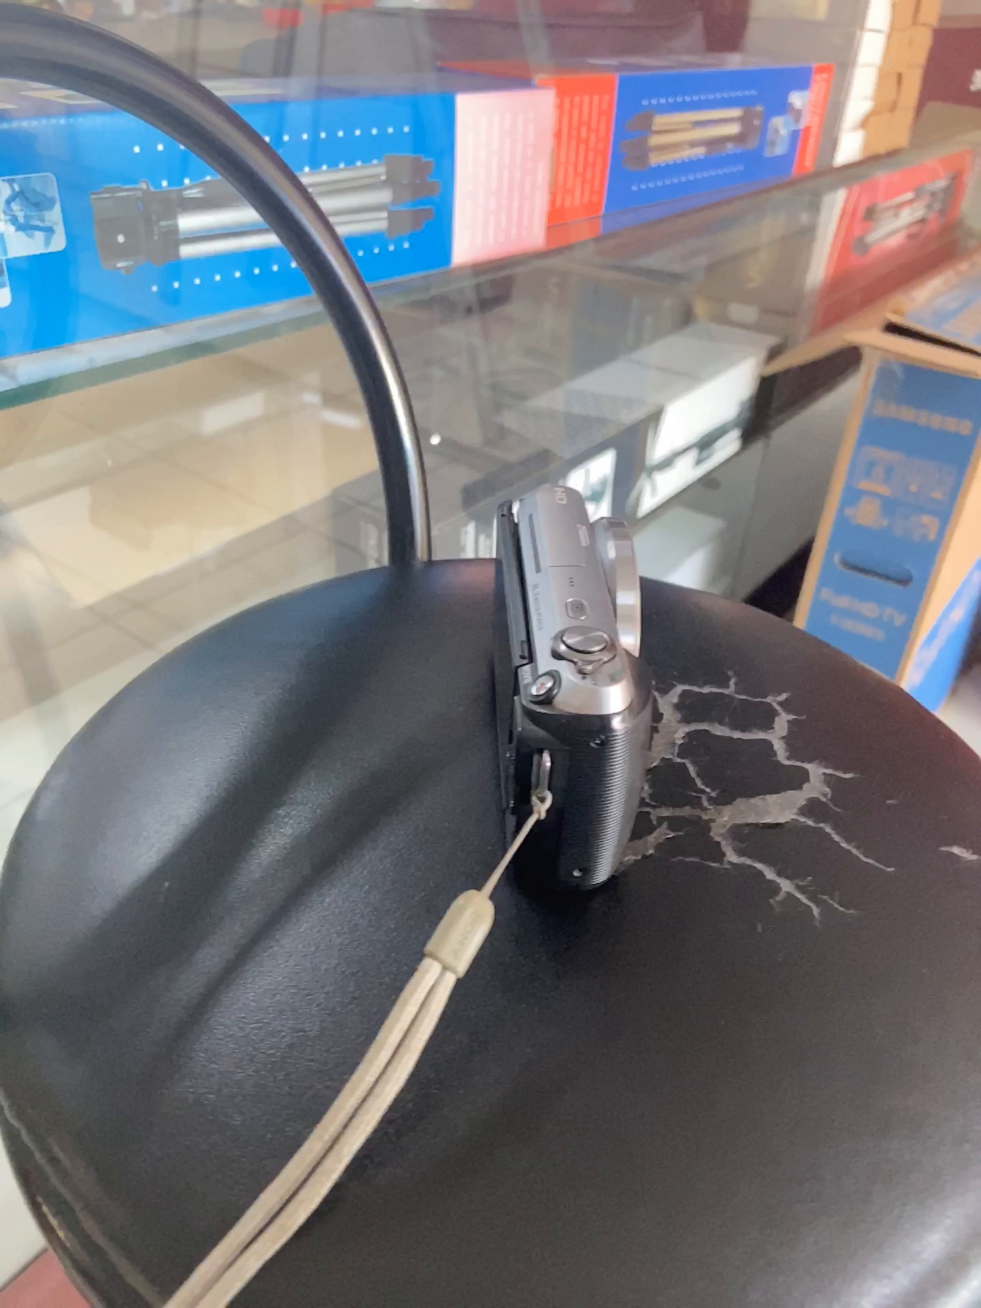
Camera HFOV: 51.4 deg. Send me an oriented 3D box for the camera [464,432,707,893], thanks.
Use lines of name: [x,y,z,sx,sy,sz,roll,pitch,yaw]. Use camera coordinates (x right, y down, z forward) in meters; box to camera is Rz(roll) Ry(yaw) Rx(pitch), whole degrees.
camera: [0.017,-0.005,0.261,0.040,0.060,0.121,0,34,-4]
